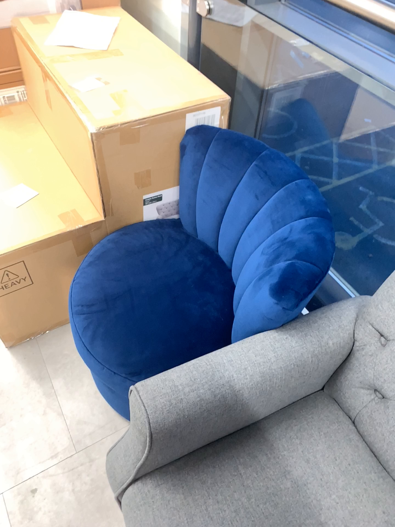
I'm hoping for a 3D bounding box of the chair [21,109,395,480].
[{"bbox_3d":[-0.037,0.075,1.165,0.661,0.674,0.645,-15,51,-16],"label":"chair"}]
